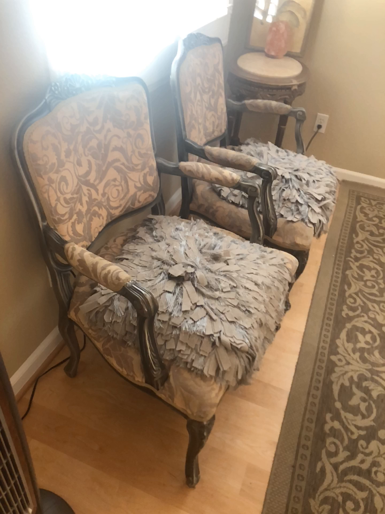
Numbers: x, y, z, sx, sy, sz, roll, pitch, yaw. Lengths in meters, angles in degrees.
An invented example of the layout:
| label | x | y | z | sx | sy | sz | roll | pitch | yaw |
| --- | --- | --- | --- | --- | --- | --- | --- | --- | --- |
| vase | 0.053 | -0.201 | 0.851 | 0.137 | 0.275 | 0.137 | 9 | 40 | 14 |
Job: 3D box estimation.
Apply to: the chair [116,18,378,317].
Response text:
| label | x | y | z | sx | sy | sz | roll | pitch | yaw |
| --- | --- | --- | --- | --- | --- | --- | --- | --- | --- |
| chair | 0.220 | -0.413 | 1.793 | 0.780 | 0.852 | 0.747 | 17 | 40 | 14 |

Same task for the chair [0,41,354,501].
| label | x | y | z | sx | sy | sz | roll | pitch | yaw |
| --- | --- | --- | --- | --- | --- | --- | --- | --- | --- |
| chair | -0.056 | 0.016 | 1.218 | 0.600 | 0.951 | 0.696 | 22 | 42 | 19 |
